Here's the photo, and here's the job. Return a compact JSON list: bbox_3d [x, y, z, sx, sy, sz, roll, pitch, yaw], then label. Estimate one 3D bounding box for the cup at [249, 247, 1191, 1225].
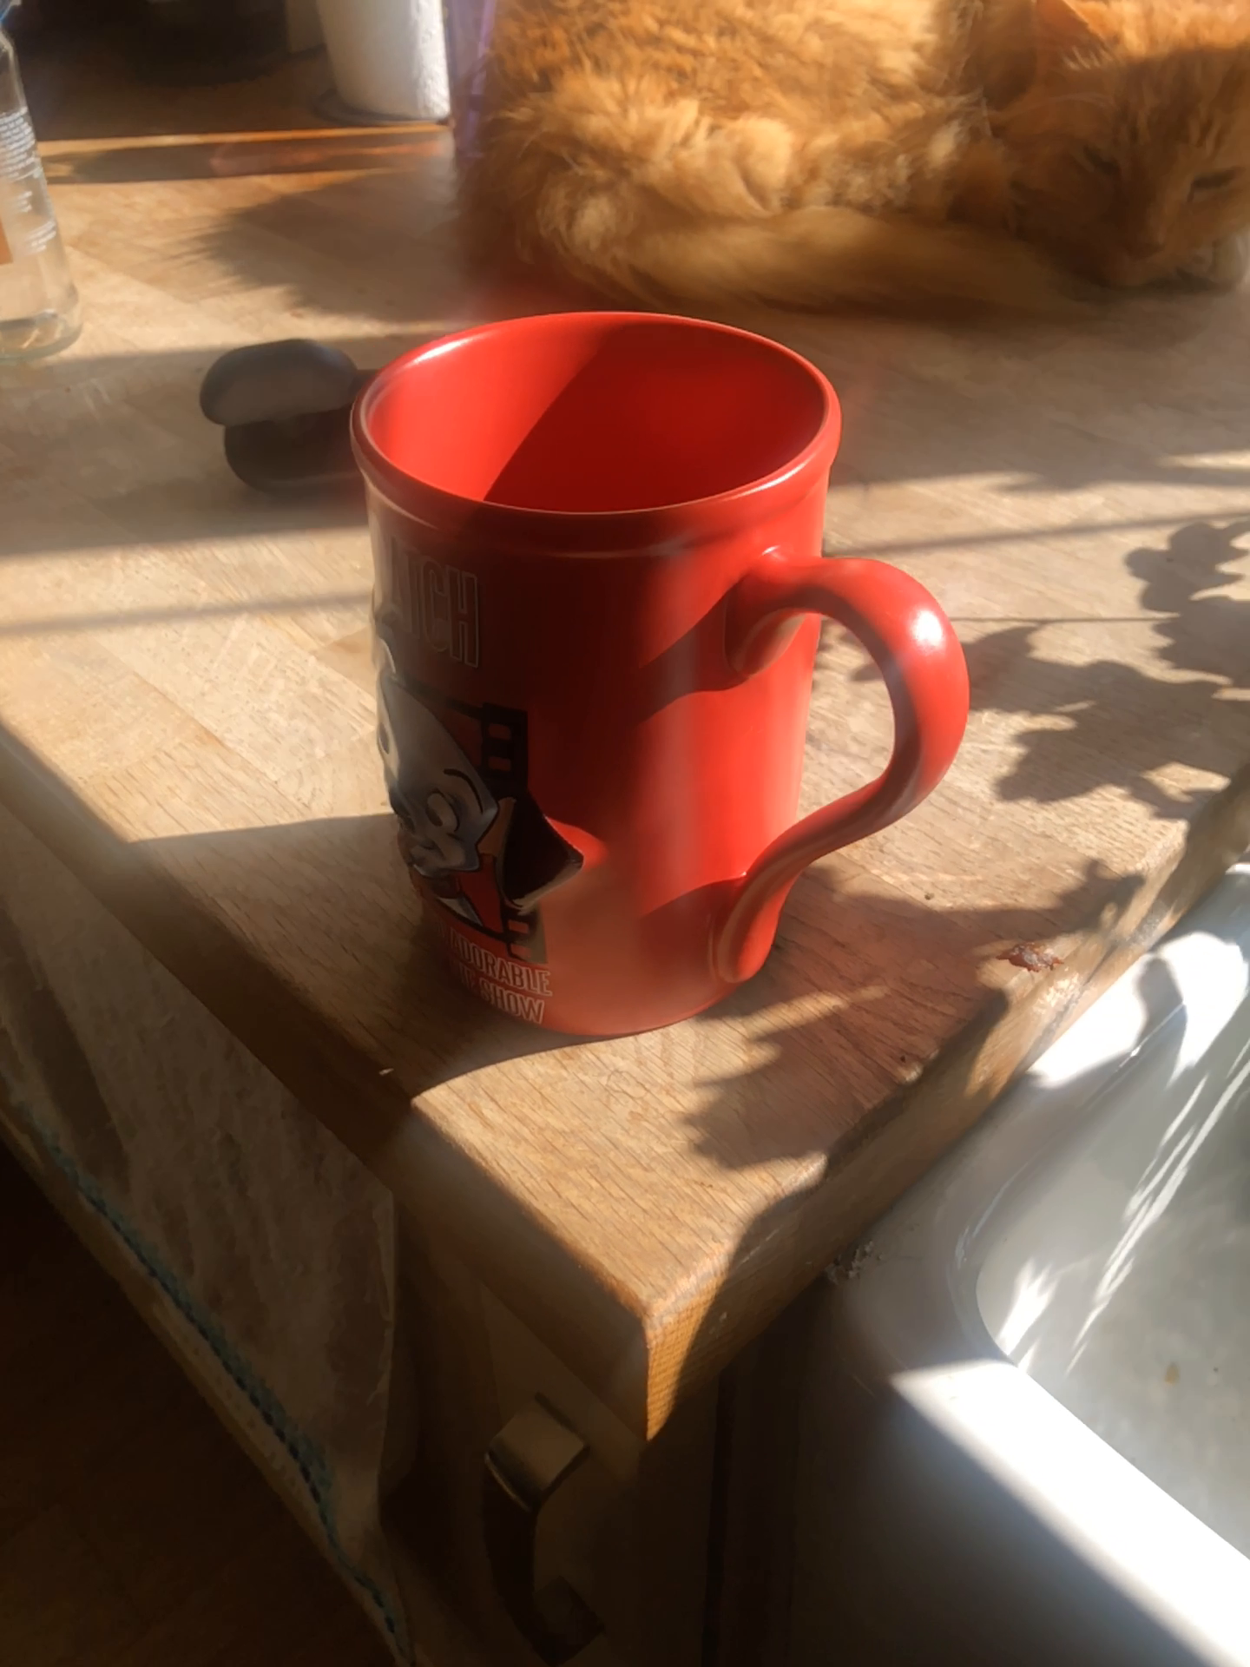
[{"bbox_3d":[0.011,-0.027,0.273,0.095,0.119,0.131,-29,49,-32],"label":"cup"}]
